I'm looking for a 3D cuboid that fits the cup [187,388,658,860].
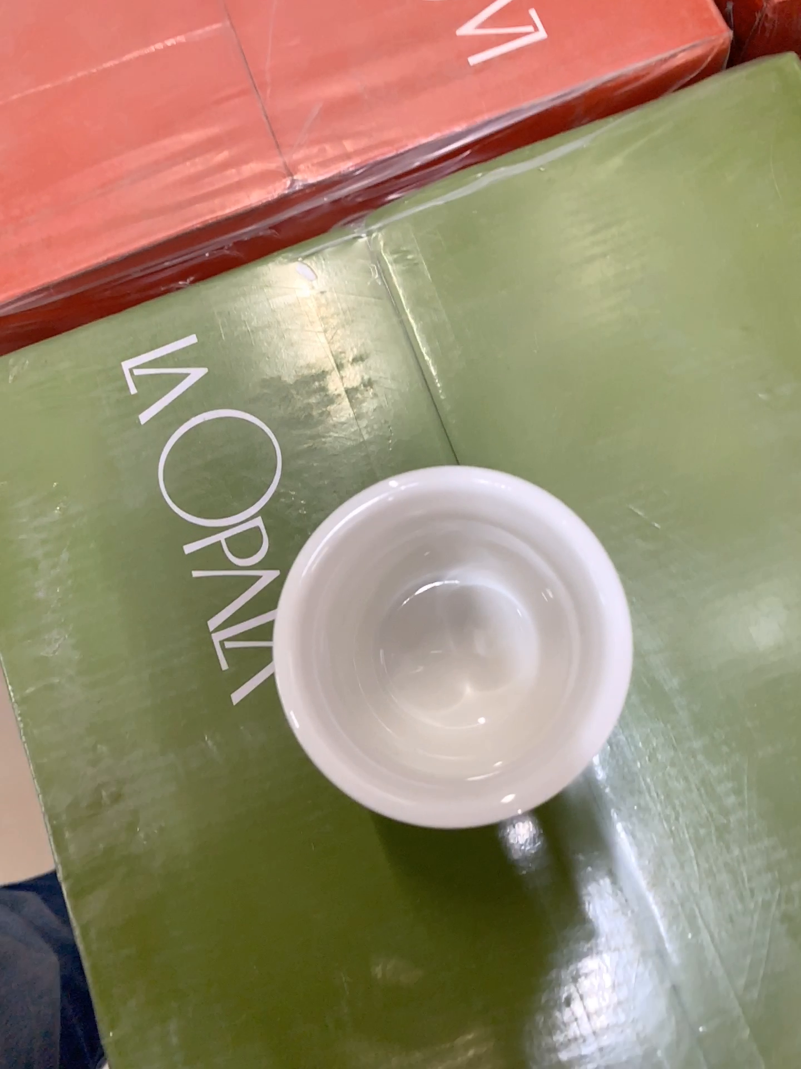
[{"bbox_3d":[0.007,0.019,0.179,0.070,0.060,0.070,-1,78,5],"label":"cup"}]
